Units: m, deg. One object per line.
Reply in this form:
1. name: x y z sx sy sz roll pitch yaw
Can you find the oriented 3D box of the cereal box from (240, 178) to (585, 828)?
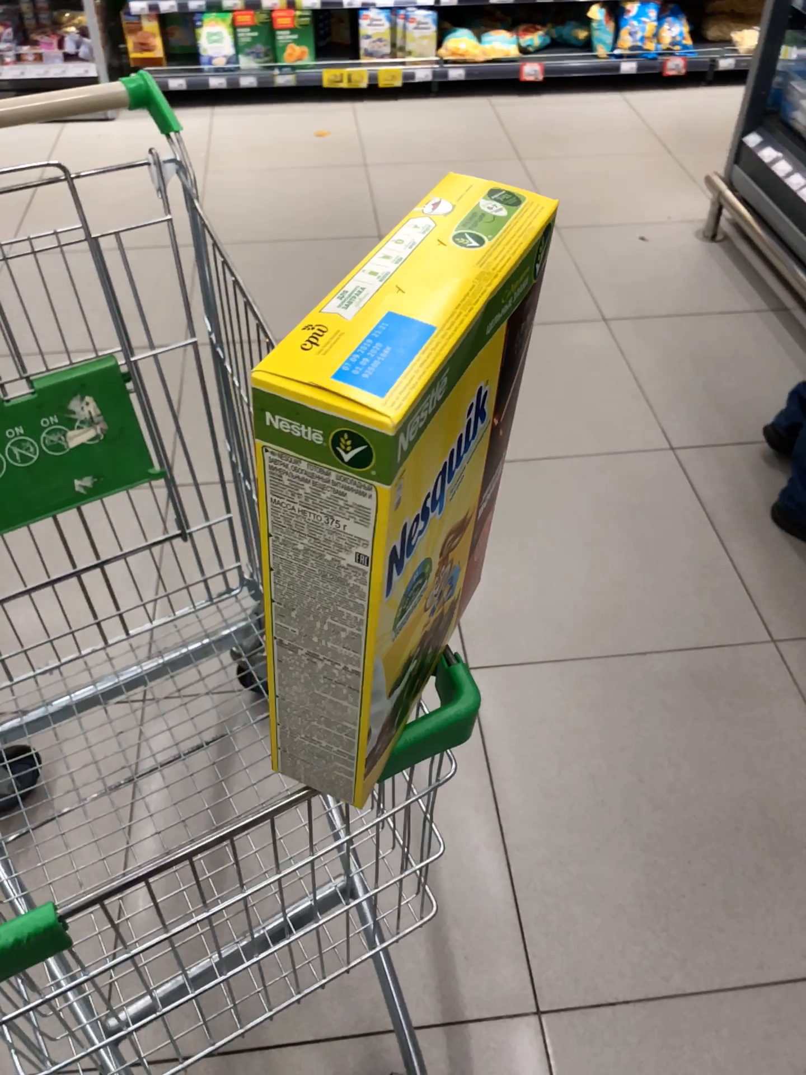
1. cereal box: 0.005 -0.010 0.464 0.070 0.268 0.201 20 47 13
